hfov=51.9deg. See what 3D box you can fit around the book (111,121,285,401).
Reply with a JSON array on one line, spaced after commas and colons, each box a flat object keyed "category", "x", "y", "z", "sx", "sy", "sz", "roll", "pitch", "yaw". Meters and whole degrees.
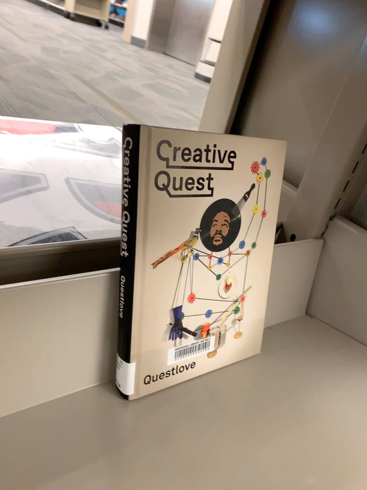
[{"category": "book", "x": 0.016, "y": 0.011, "z": 0.348, "sx": 0.160, "sy": 0.223, "sz": 0.031, "roll": -6, "pitch": 16, "yaw": -35}]
